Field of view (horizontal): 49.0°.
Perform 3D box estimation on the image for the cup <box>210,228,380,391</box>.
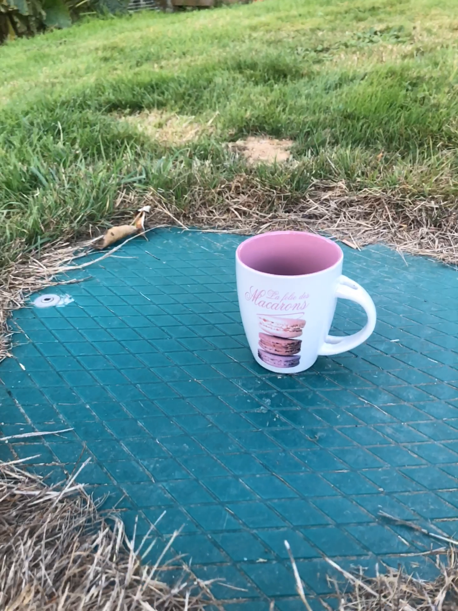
[{"bbox_3d":[0.060,-0.002,0.427,0.120,0.091,0.095,6,31,17],"label":"cup"}]
